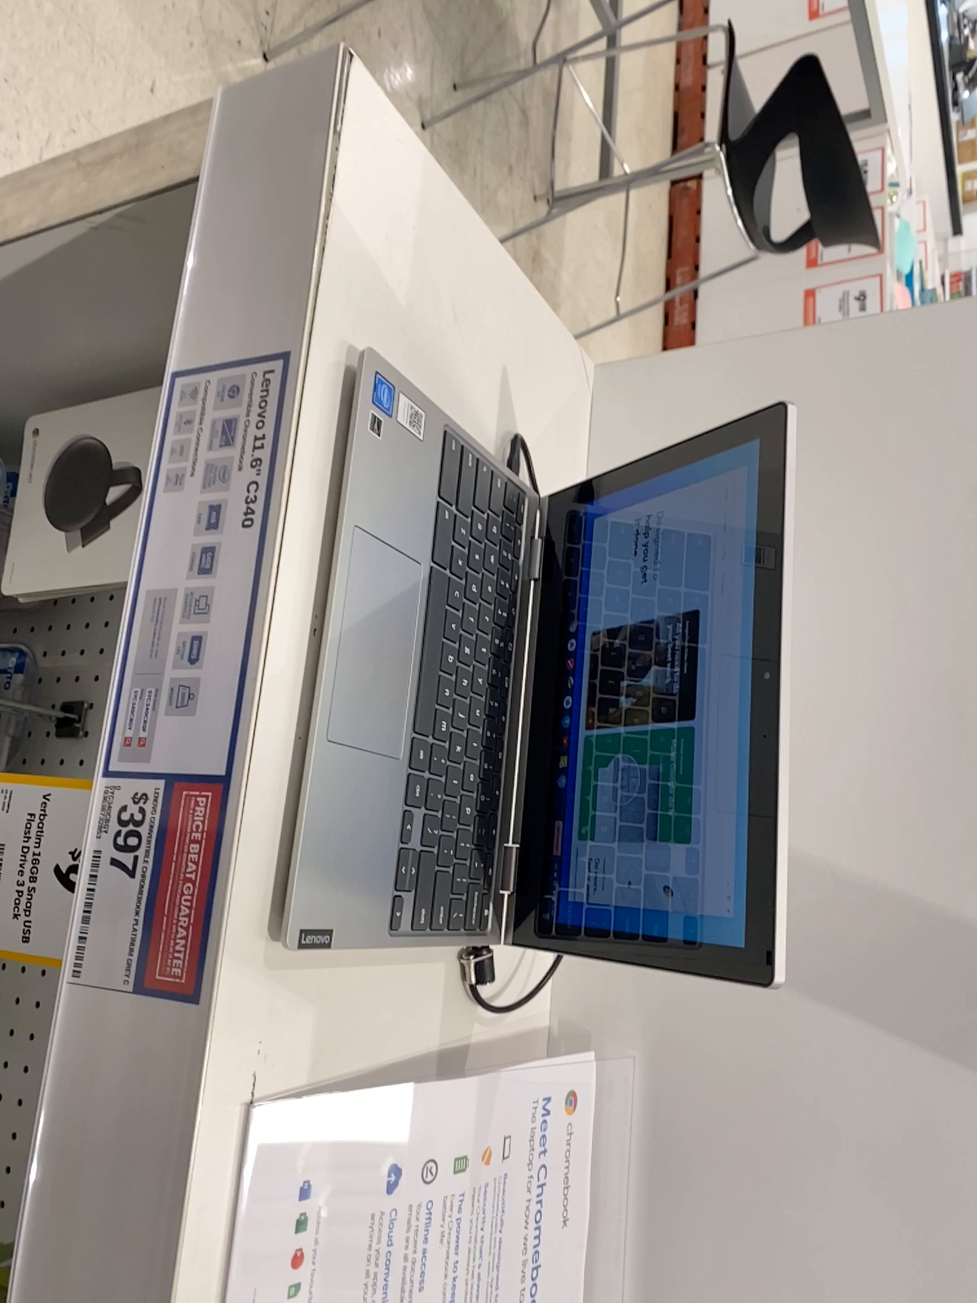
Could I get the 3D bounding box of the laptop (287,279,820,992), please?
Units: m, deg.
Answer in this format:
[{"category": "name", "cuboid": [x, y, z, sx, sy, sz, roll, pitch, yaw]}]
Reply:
[{"category": "laptop", "cuboid": [0.054, 0.010, 0.510, 0.201, 0.180, 0.283, 28, 64, -58]}]
